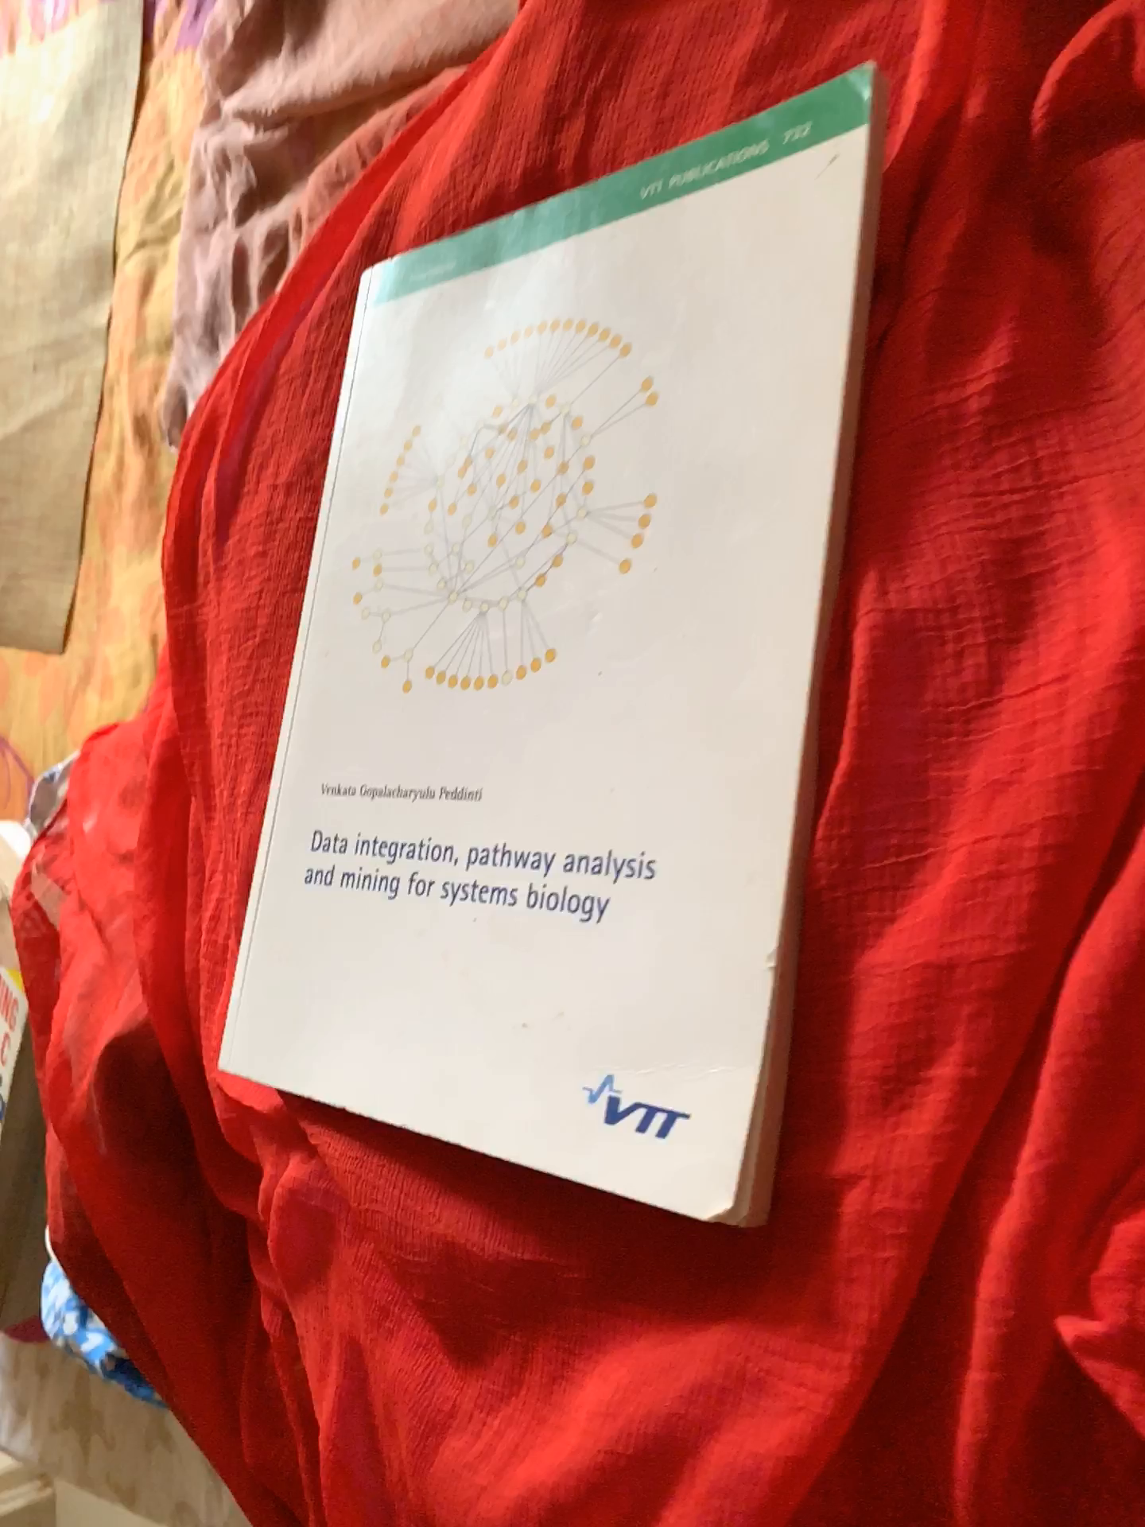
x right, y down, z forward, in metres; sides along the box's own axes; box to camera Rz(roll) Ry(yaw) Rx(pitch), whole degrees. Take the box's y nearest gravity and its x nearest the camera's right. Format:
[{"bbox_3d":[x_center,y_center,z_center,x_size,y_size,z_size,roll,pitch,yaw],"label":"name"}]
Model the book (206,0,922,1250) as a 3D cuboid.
[{"bbox_3d":[-0.011,-0.040,0.309,0.181,0.020,0.270,-1,76,42],"label":"book"}]
